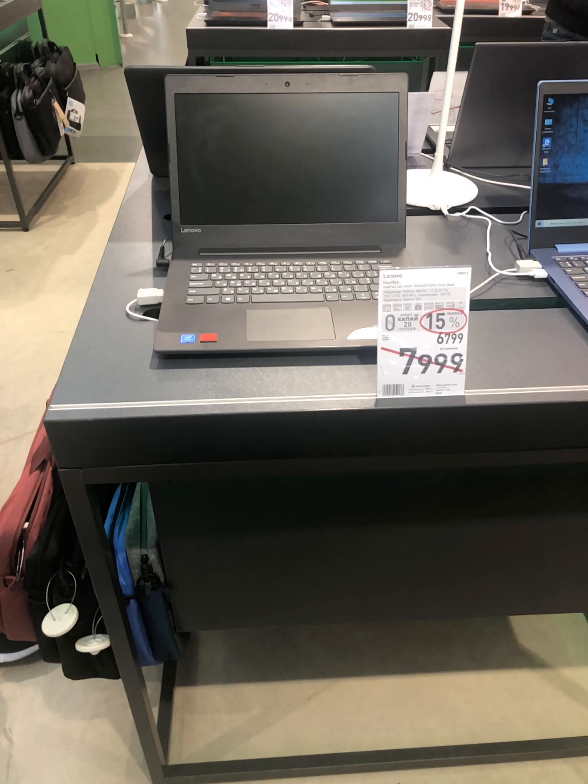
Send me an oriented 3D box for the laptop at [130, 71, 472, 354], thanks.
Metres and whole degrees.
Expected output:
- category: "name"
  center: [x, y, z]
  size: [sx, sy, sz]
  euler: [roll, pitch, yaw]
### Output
- category: "laptop"
  center: [-0.001, -0.246, 0.823]
  size: [0.330, 0.205, 0.363]
  euler: [-1, 40, -3]
